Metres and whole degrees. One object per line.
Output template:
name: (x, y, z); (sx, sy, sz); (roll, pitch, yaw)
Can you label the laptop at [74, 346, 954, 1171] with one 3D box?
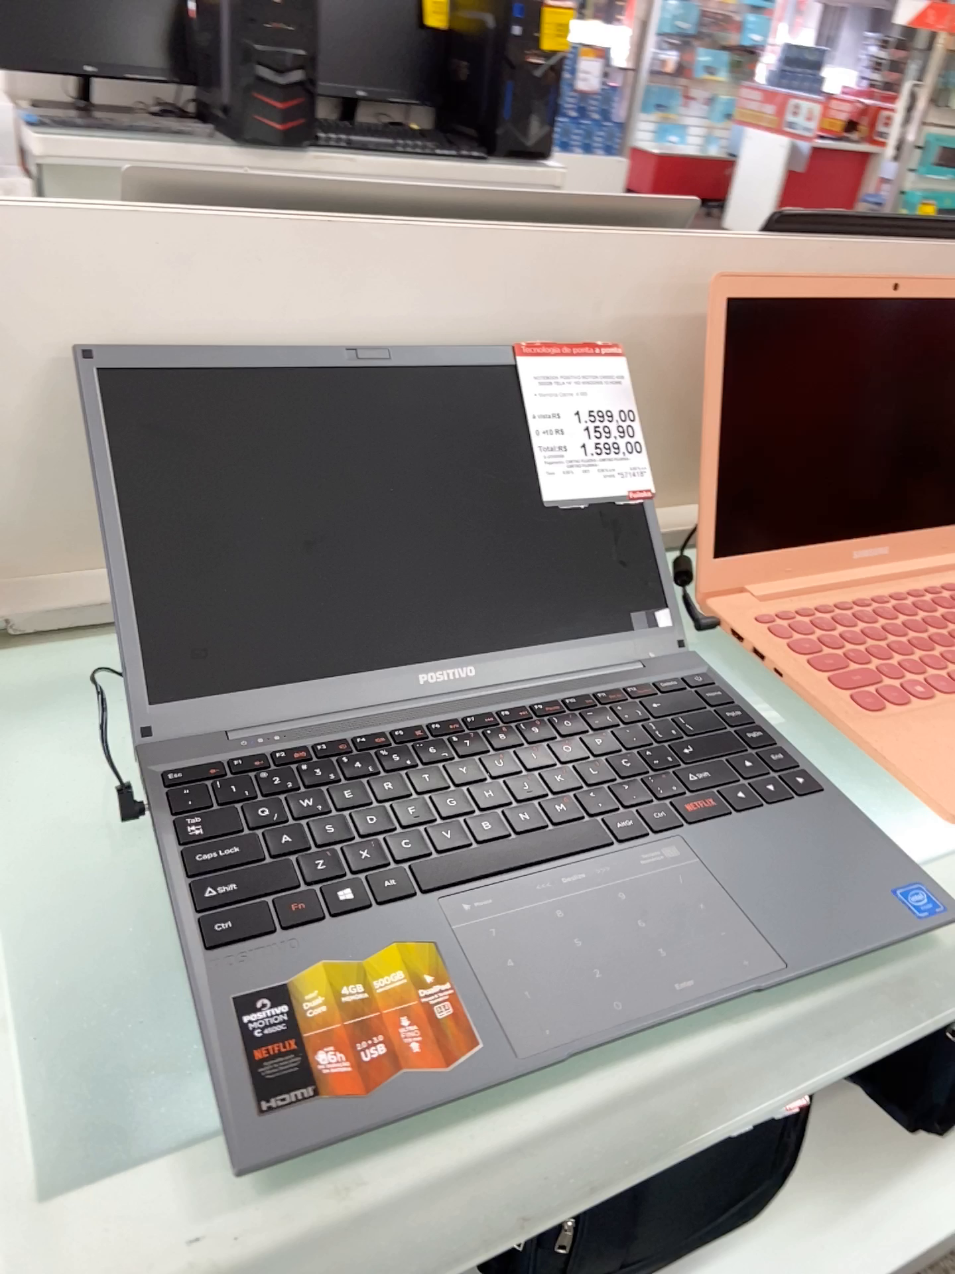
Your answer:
laptop: (0.007, -0.011, 0.479); (0.334, 0.144, 0.367); (-8, 36, -24)
